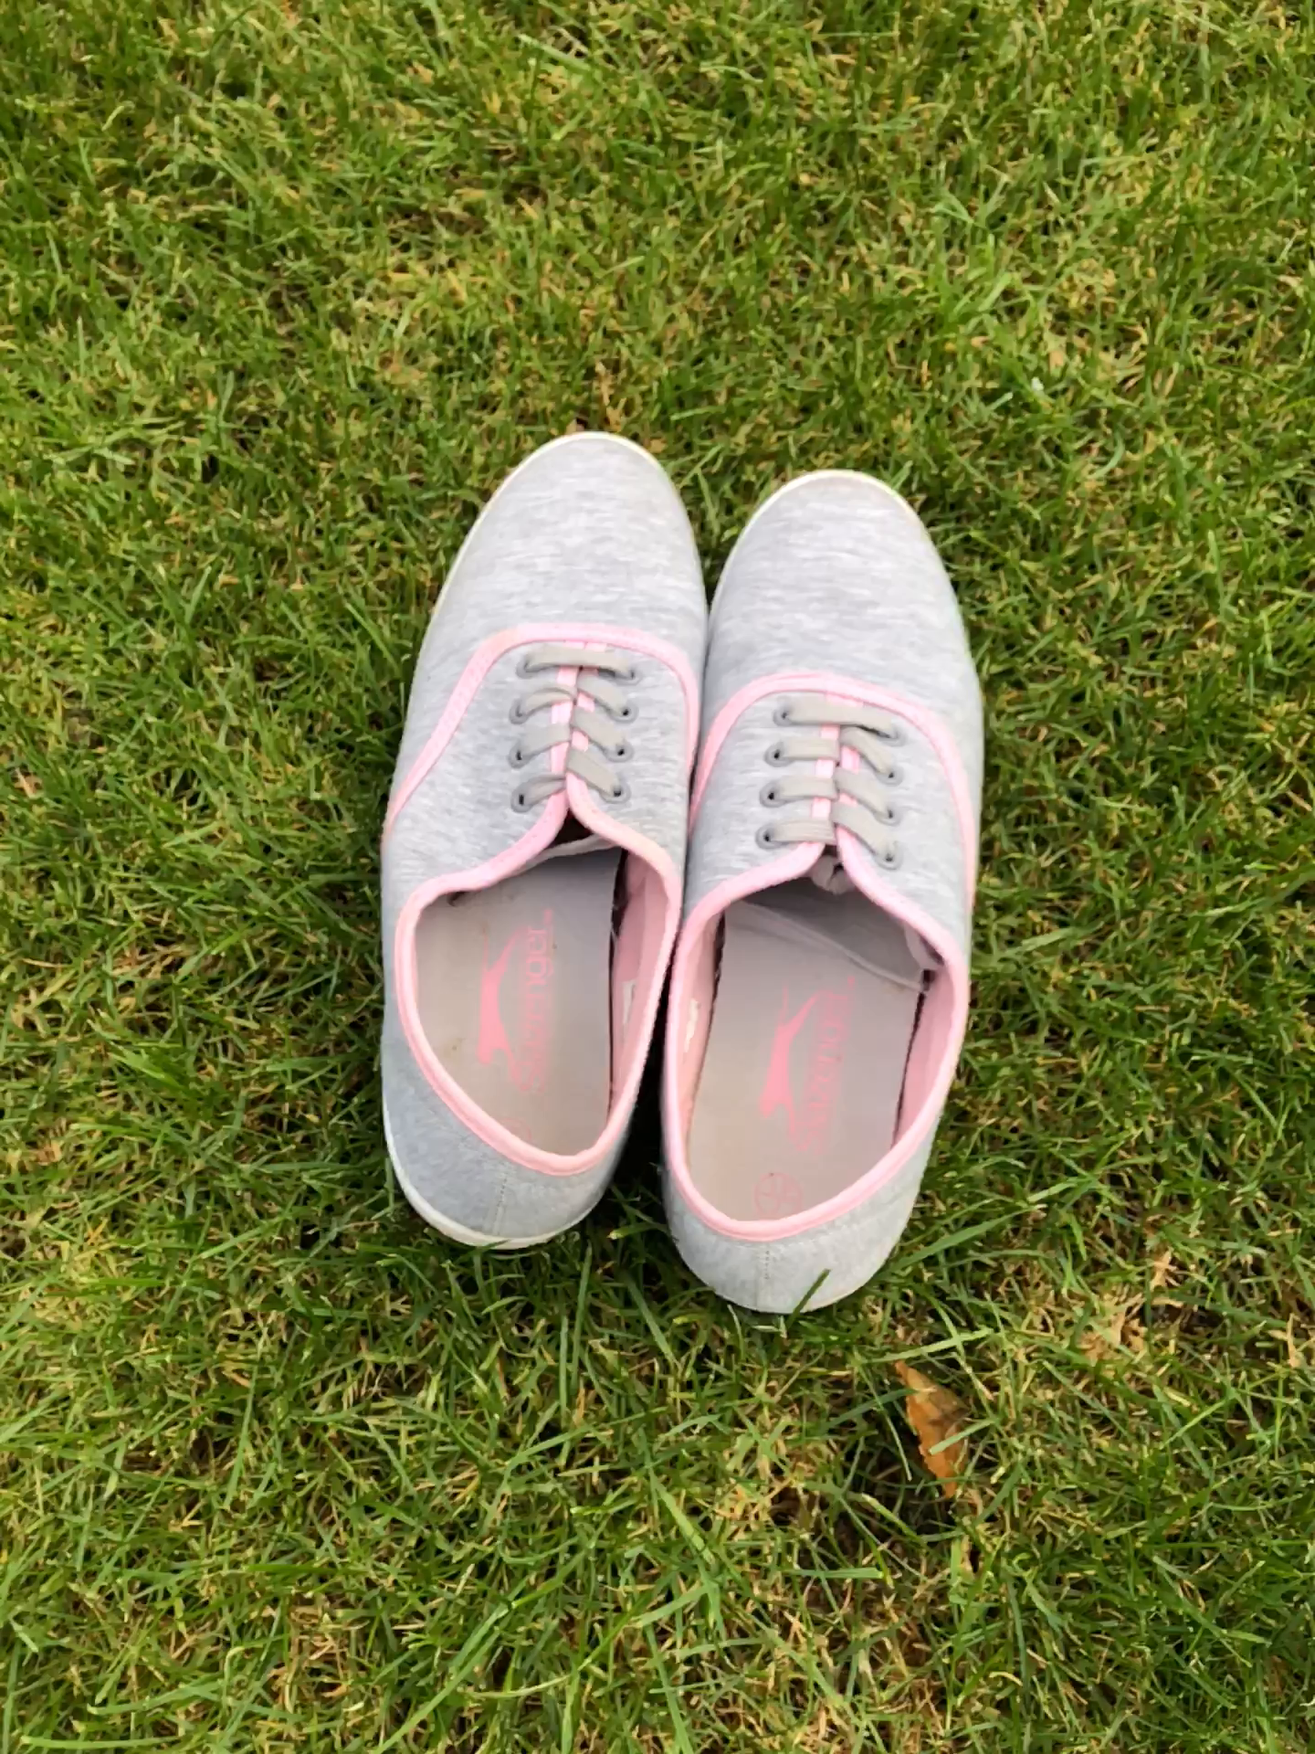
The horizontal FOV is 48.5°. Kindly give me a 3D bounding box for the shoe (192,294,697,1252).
[{"bbox_3d":[-0.050,-0.029,0.431,0.100,0.090,0.260,5,74,3],"label":"shoe"}]

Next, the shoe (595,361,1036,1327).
[{"bbox_3d":[0.048,-0.009,0.429,0.100,0.090,0.260,5,74,3],"label":"shoe"}]
